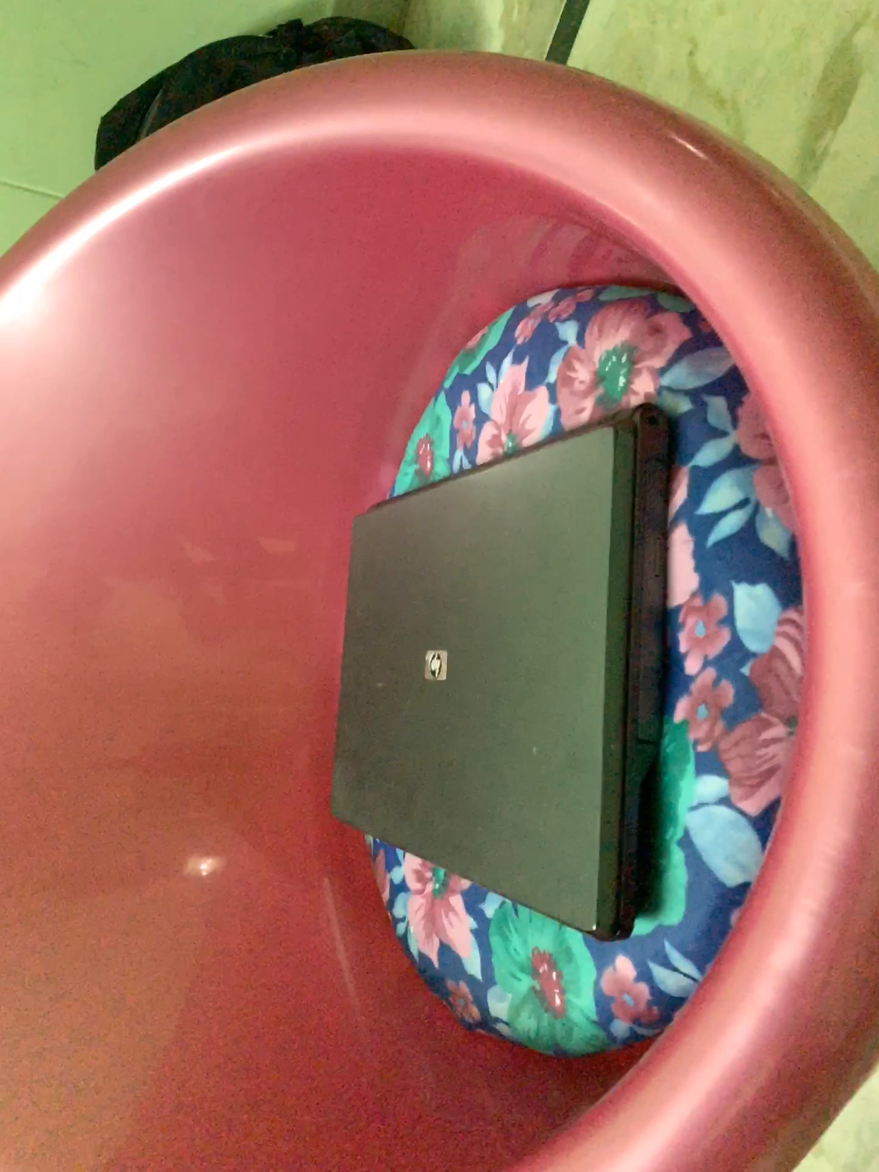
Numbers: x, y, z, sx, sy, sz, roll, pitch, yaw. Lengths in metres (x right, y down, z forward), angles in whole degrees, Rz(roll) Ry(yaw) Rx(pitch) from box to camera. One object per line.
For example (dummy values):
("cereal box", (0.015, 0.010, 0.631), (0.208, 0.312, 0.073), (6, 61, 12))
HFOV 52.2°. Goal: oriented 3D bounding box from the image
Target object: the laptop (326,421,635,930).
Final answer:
("laptop", (0.003, 0.045, 0.525), (0.305, 0.003, 0.222), (-7, 79, 59))
